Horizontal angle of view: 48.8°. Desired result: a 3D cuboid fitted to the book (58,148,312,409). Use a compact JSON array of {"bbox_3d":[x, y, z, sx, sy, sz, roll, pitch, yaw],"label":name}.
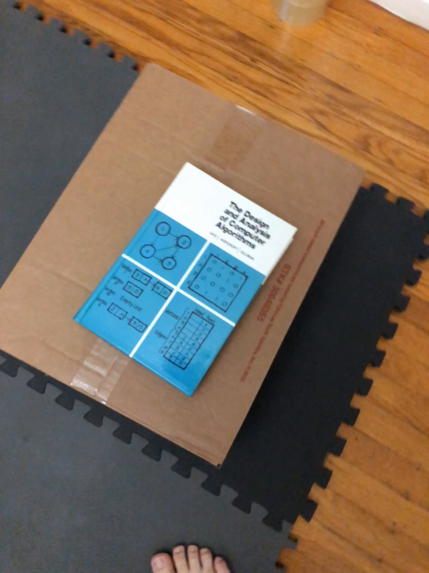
[{"bbox_3d":[-0.031,-0.015,0.585,0.190,0.040,0.260,33,77,6],"label":"book"}]
